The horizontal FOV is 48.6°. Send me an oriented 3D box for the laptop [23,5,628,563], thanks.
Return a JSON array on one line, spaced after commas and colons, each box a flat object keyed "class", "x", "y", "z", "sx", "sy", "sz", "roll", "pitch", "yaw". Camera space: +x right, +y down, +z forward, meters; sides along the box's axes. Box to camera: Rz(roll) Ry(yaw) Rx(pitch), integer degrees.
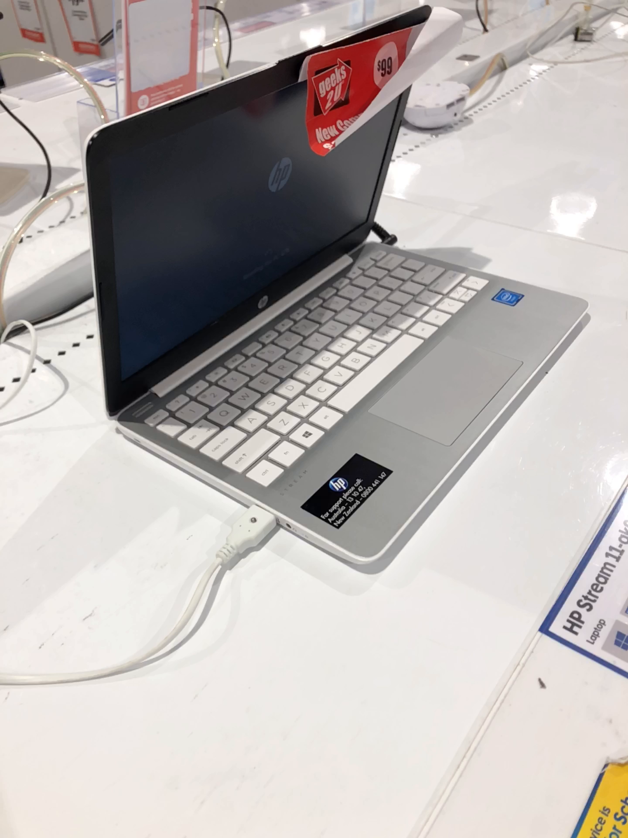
[{"class": "laptop", "x": 0.031, "y": -0.106, "z": 0.396, "sx": 0.183, "sy": 0.173, "sz": 0.274, "roll": 24, "pitch": 47, "yaw": 29}]
